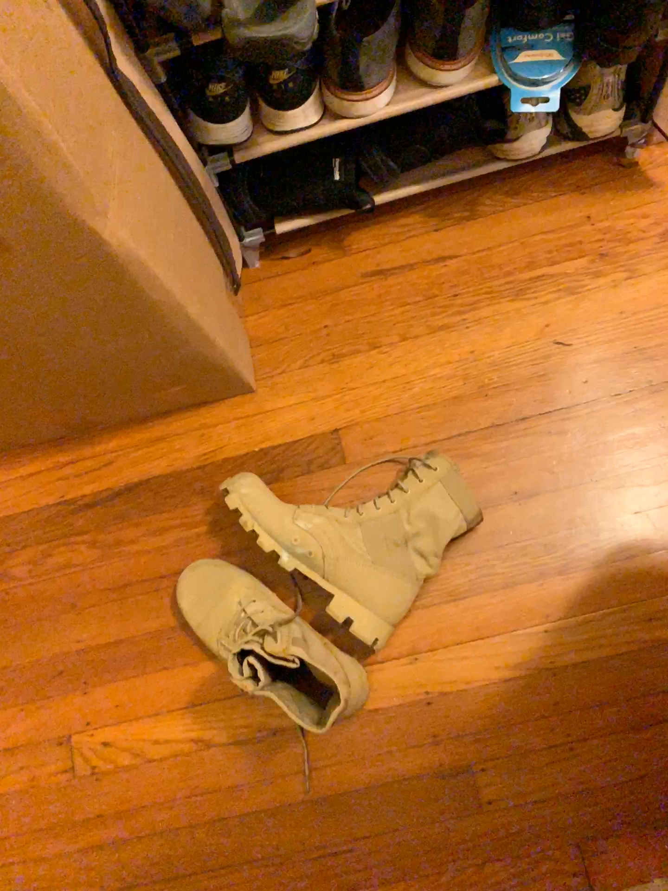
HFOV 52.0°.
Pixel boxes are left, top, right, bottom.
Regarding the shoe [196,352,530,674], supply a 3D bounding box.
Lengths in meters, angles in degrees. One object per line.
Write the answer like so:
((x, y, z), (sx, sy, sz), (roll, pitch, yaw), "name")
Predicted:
((0.035, 0.079, 0.848), (0.290, 0.110, 0.260), (35, 76, 15), "shoe")

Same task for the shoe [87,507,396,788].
((-0.090, 0.215, 0.772), (0.290, 0.200, 0.120), (33, 82, 15), "shoe")
